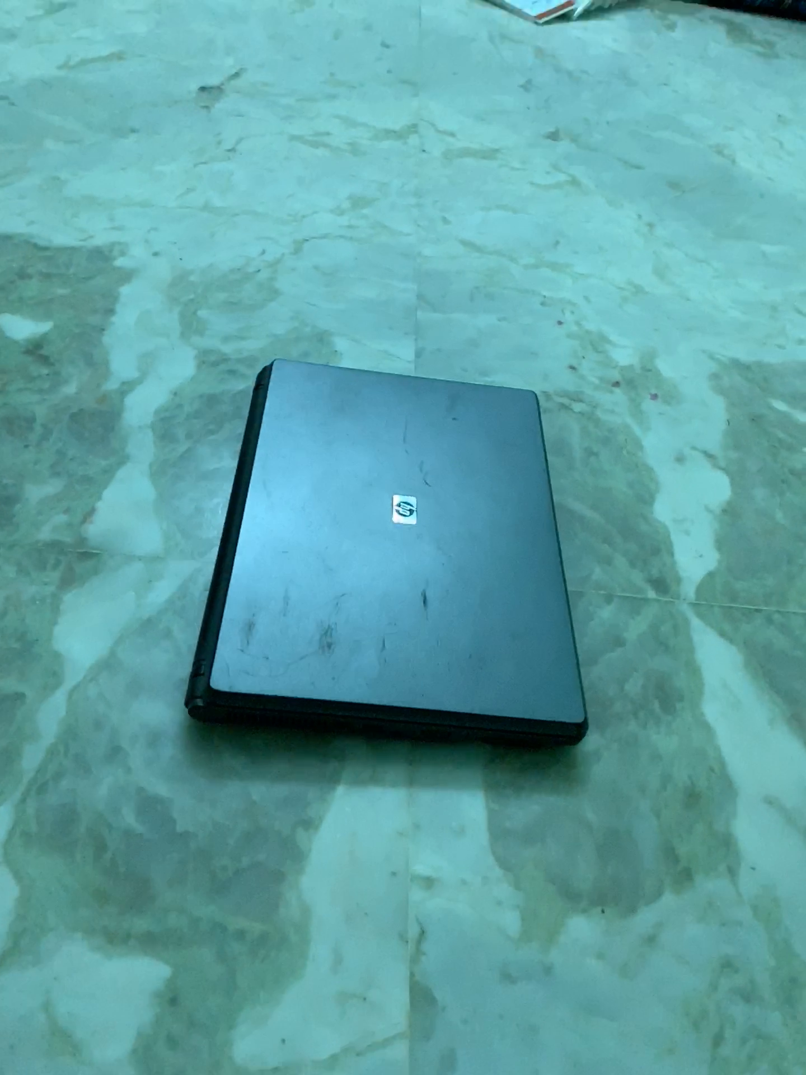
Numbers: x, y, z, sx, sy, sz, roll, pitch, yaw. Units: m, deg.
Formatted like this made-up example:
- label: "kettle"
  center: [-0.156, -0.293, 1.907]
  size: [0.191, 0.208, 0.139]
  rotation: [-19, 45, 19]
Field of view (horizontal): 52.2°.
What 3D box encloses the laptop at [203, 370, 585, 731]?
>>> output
- label: "laptop"
  center: [0.000, -0.012, 0.588]
  size: [0.226, 0.001, 0.311]
  rotation: [5, 48, -3]
